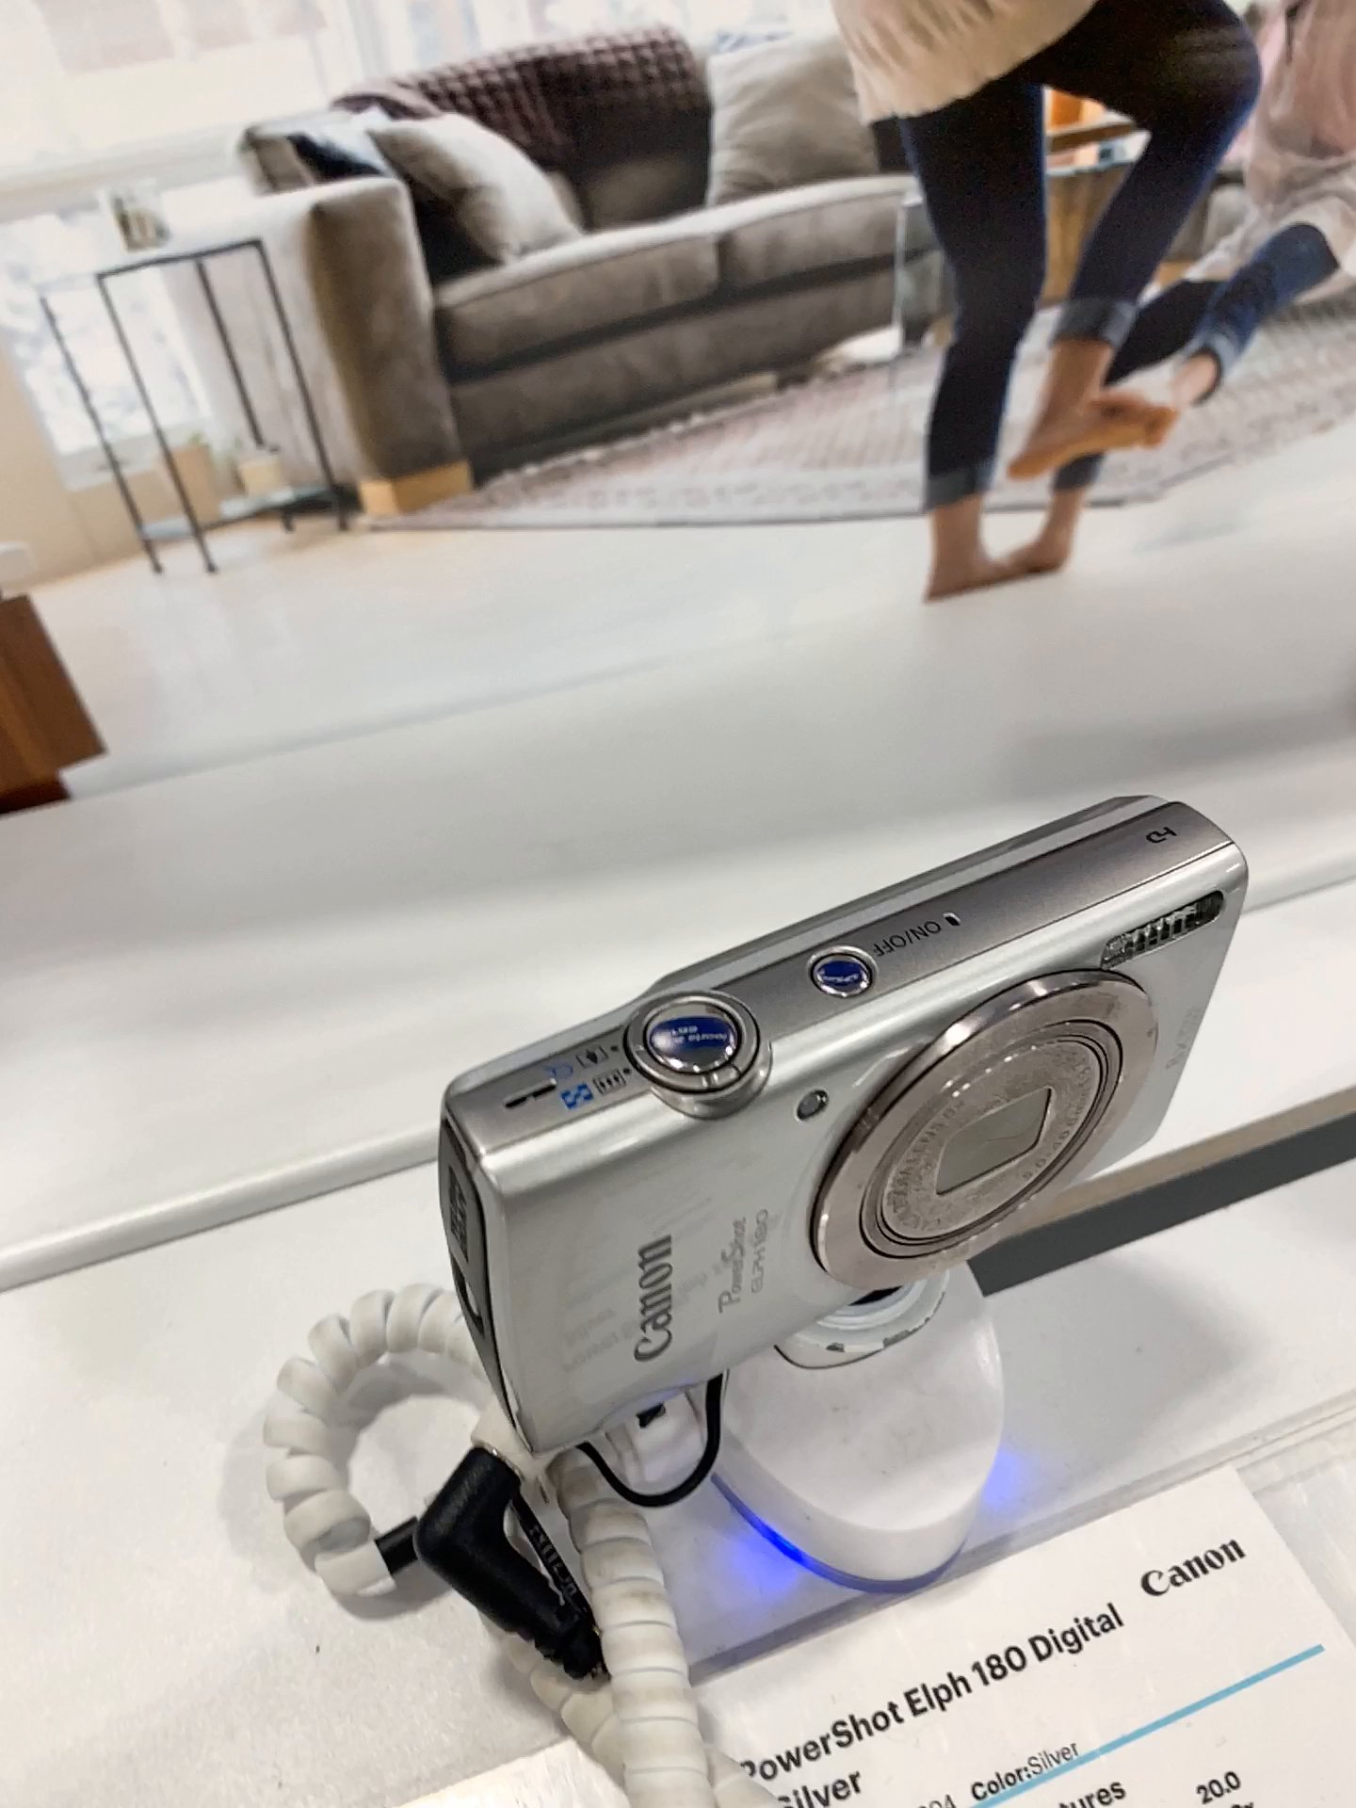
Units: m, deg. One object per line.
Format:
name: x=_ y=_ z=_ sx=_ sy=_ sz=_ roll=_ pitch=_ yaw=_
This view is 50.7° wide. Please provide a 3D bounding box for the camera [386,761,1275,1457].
camera: x=0.019 y=0.023 z=0.171 sx=0.098 sy=0.051 sz=0.022 roll=-21 pitch=52 yaw=-20
